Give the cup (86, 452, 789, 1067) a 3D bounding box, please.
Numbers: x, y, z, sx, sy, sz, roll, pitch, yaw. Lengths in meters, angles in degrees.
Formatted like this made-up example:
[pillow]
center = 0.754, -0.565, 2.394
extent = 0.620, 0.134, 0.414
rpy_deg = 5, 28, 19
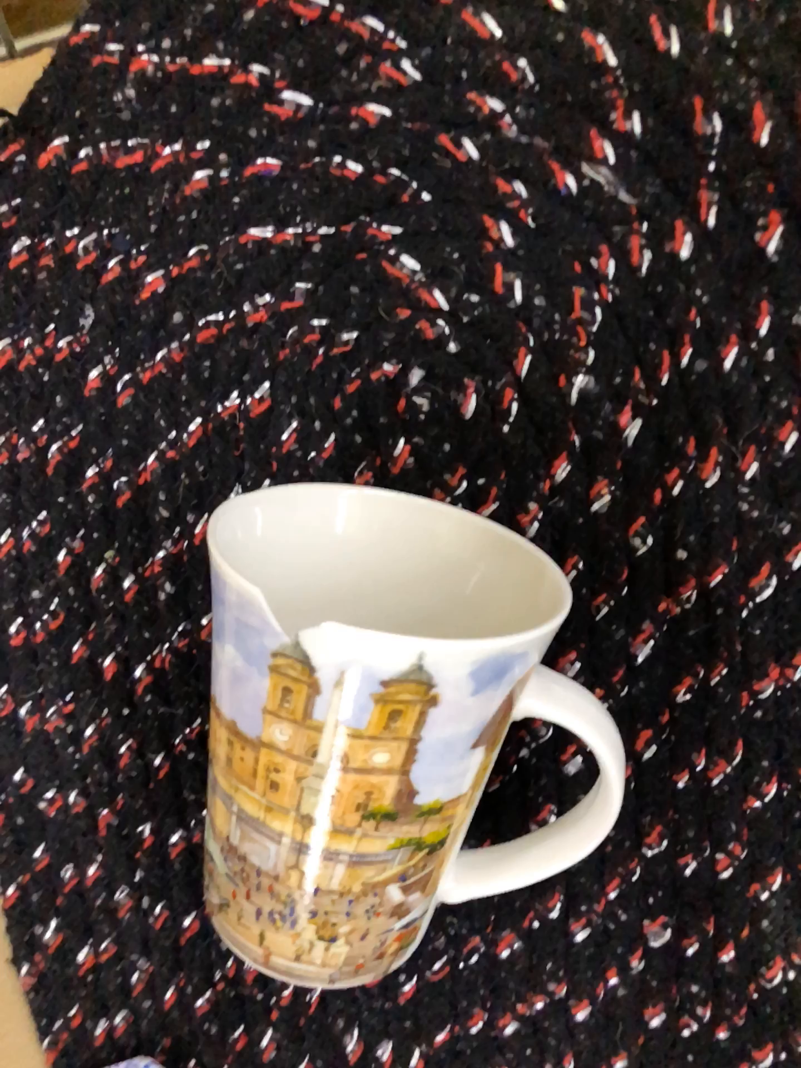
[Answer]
[cup]
center = 0.003, 0.055, 0.208
extent = 0.110, 0.090, 0.110
rpy_deg = 1, 109, 4
